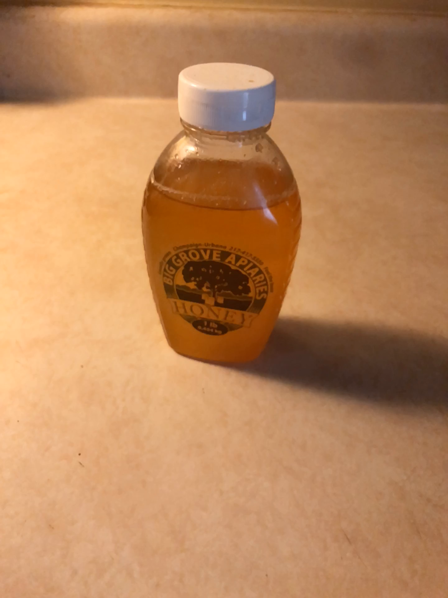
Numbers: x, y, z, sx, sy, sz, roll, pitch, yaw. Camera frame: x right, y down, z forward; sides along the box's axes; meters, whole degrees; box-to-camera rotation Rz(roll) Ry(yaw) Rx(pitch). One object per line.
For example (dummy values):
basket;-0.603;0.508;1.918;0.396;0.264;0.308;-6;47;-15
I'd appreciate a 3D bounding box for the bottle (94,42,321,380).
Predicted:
bottle;-0.005;-0.037;0.241;0.080;0.140;0.060;7;38;5
